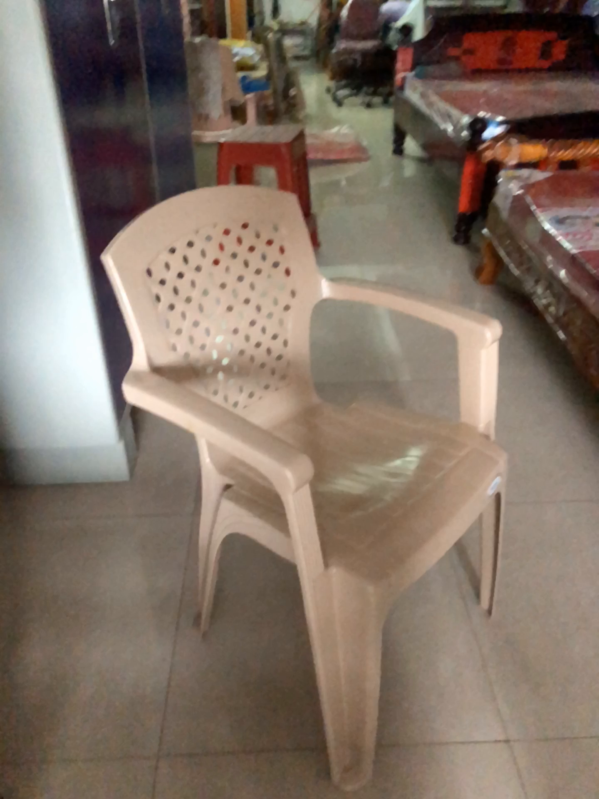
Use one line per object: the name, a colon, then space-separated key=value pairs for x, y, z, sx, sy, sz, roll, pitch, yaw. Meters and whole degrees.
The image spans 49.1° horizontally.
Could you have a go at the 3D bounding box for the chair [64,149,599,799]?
chair: x=0.077 y=0.081 z=1.109 sx=0.560 sy=0.796 sz=0.543 roll=25 pitch=41 yaw=34
